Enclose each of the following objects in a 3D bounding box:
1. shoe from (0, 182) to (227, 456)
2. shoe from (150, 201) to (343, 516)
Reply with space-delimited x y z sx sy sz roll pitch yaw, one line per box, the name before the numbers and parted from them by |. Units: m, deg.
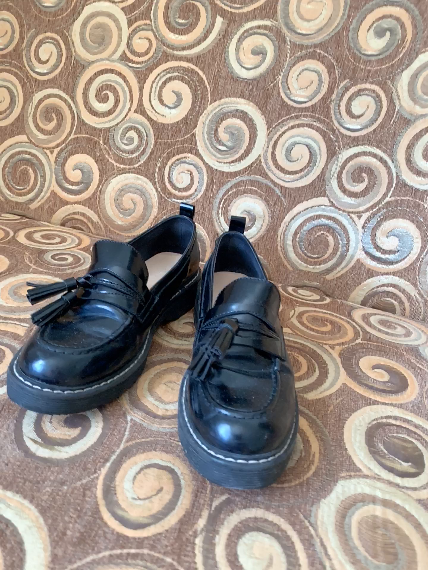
shoe | -0.081 0.003 0.372 0.090 0.099 0.241 18 33 15
shoe | 0.013 0.031 0.342 0.090 0.099 0.241 6 32 -4
